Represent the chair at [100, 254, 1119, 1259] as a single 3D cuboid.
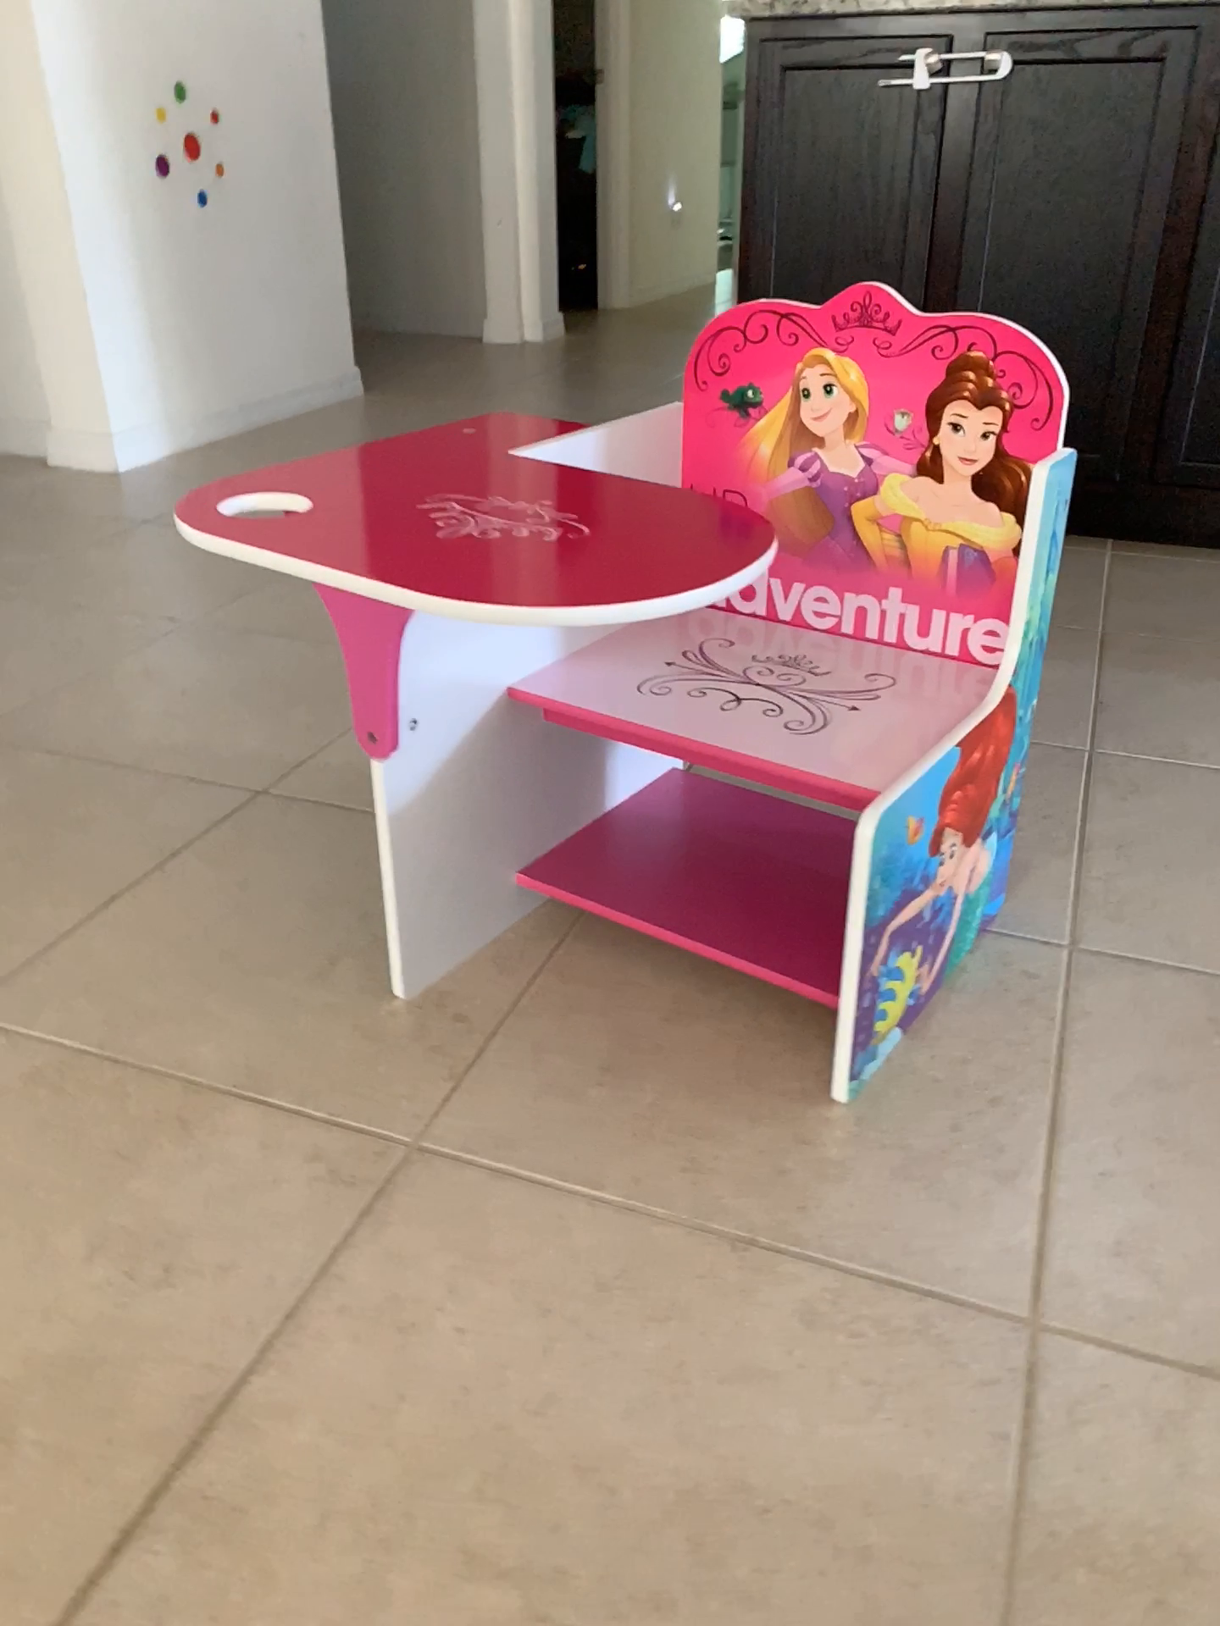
[{"bbox_3d":[0.030,-0.131,1.035,0.533,0.567,0.552,16,31,29],"label":"chair"}]
